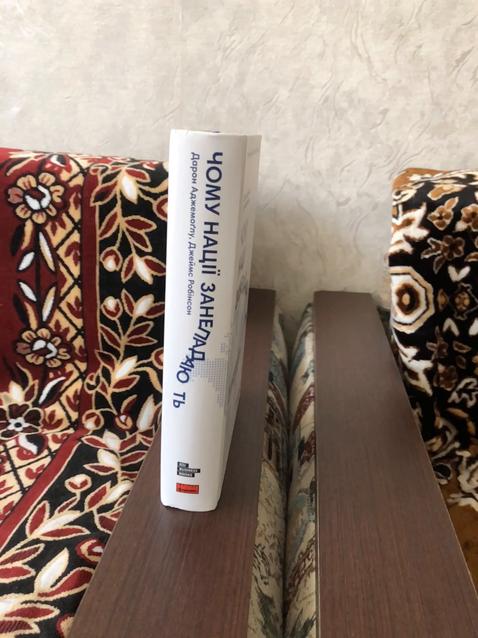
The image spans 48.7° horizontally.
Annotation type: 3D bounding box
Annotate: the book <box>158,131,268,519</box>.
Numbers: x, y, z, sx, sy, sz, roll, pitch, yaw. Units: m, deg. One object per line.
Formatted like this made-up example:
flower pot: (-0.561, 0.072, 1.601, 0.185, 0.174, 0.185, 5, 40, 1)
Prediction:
book: (-0.014, -0.010, 0.348, 0.042, 0.212, 0.151, 5, 19, 3)
